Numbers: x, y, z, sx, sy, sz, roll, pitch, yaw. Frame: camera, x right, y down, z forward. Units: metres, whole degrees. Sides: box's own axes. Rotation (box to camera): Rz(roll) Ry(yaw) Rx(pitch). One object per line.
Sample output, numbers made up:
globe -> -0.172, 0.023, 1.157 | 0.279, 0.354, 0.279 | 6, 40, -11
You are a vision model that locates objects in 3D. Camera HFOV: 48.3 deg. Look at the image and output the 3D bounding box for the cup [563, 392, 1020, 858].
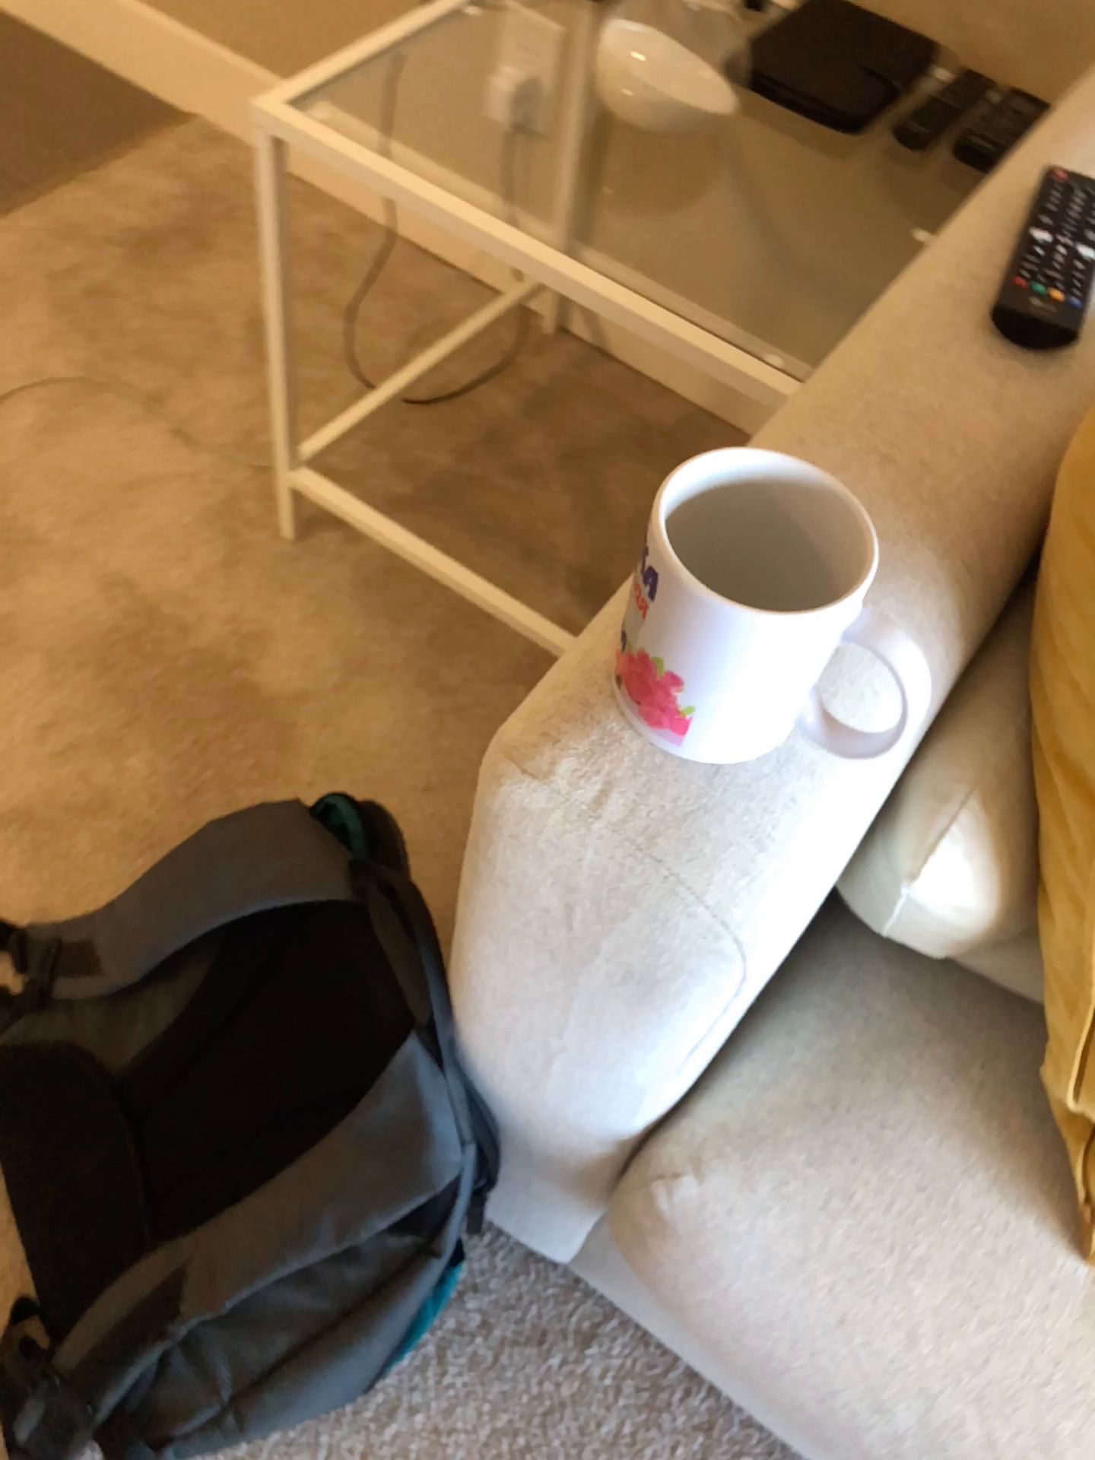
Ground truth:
cup -> 0.084, -0.038, 0.455 | 0.120, 0.100, 0.080 | 37, 58, 16
